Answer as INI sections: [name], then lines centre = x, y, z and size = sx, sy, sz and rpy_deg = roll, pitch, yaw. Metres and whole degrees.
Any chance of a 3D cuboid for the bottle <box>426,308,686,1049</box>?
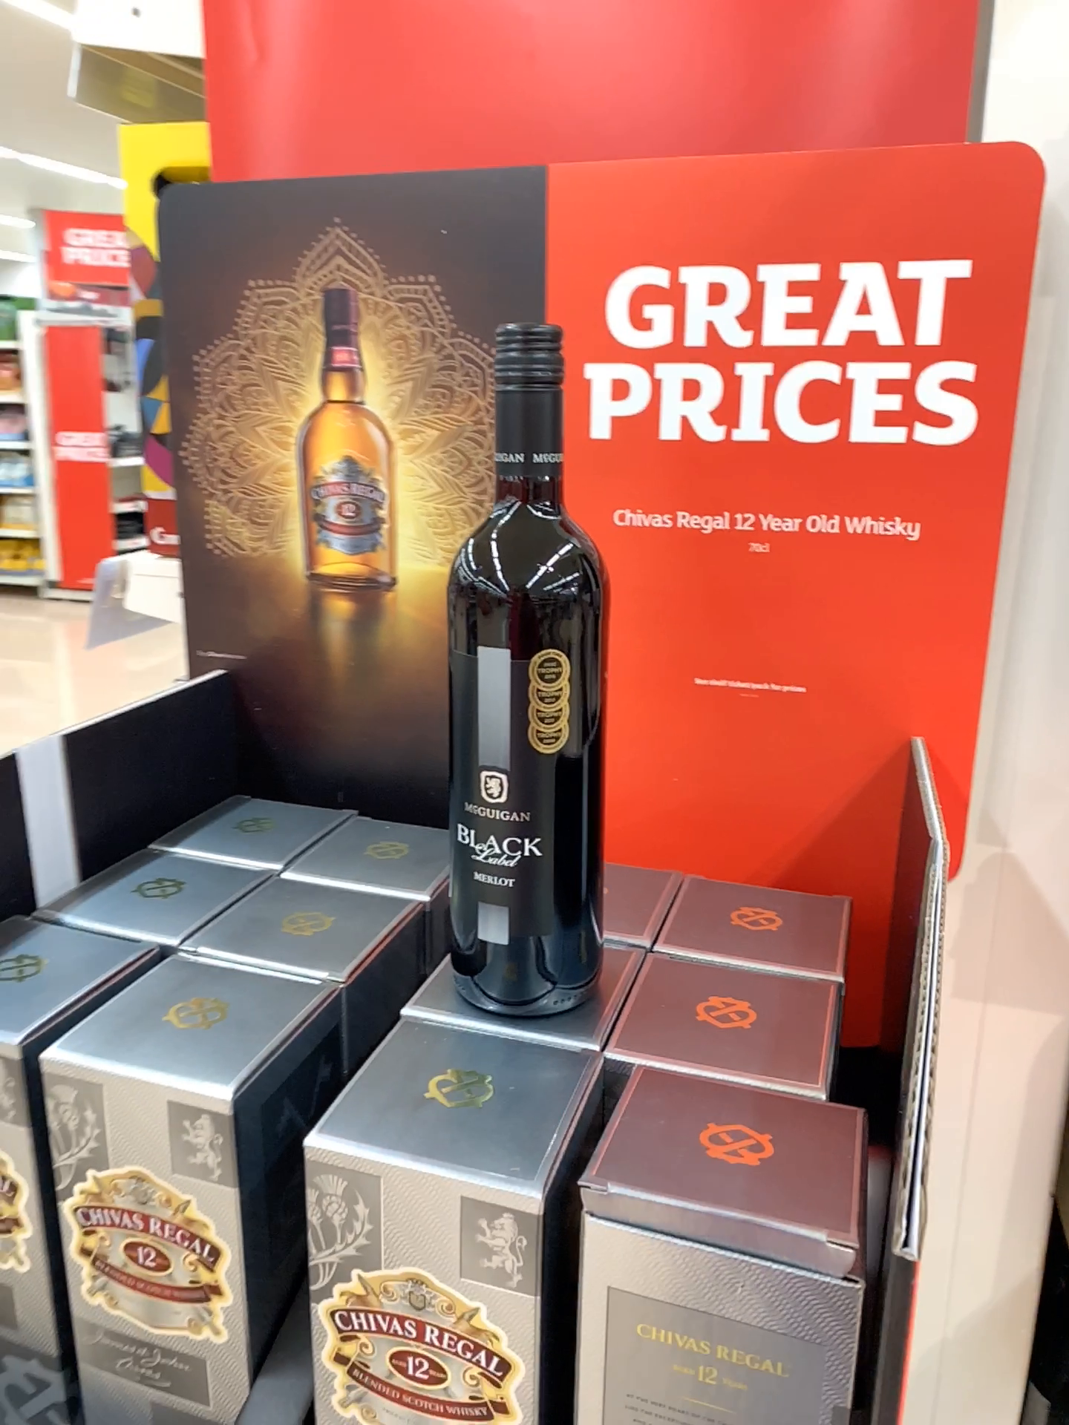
[bottle]
centre = 0.008, -0.015, 0.466
size = 0.070, 0.288, 0.080
rpy_deg = 10, 18, 31
